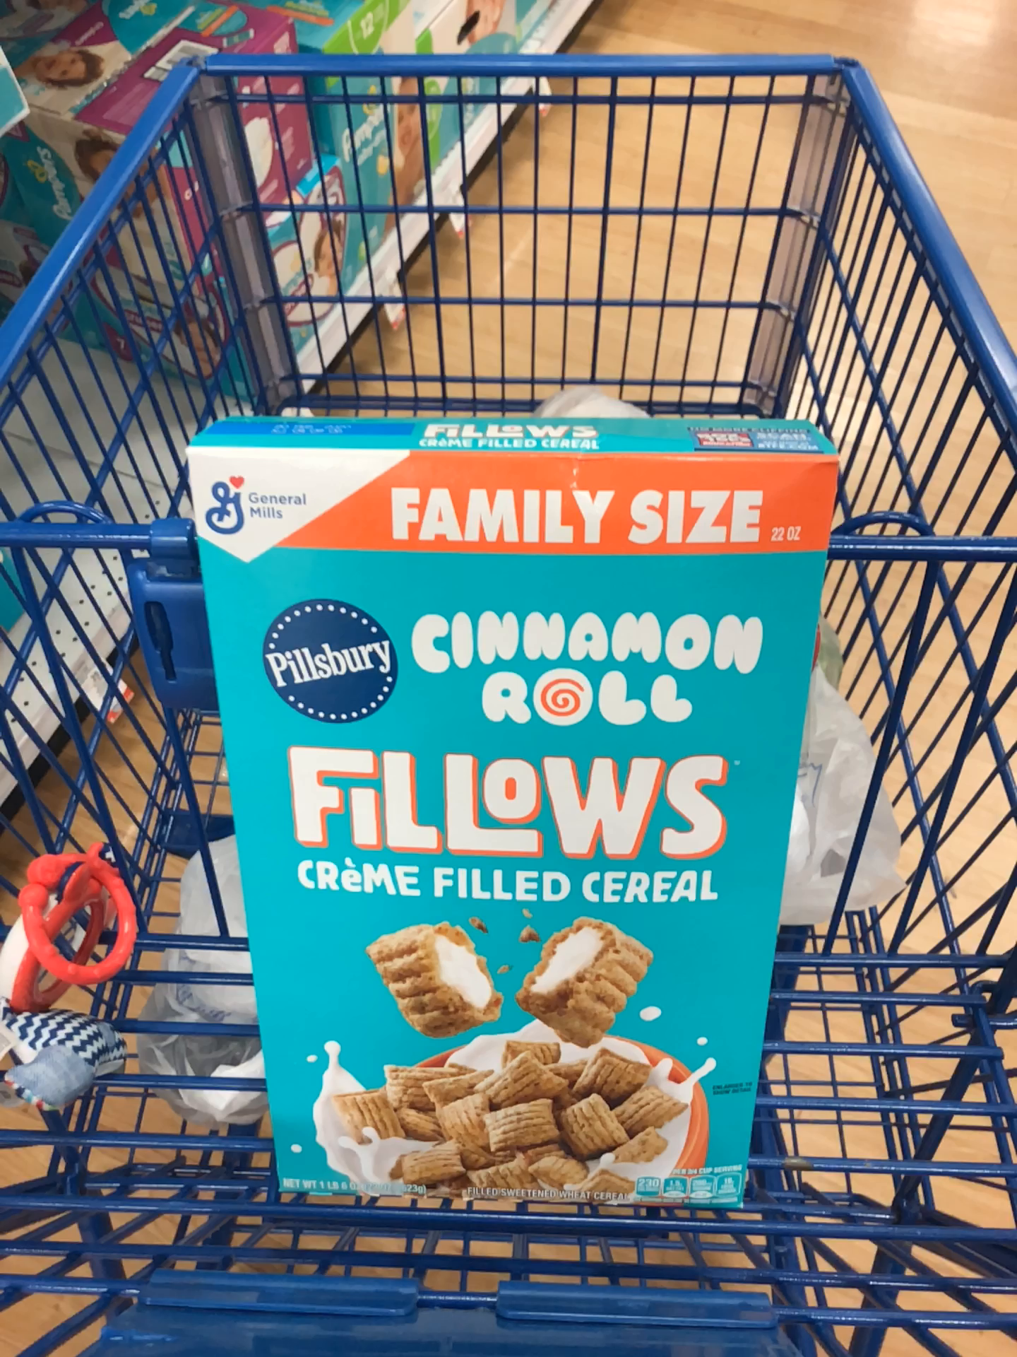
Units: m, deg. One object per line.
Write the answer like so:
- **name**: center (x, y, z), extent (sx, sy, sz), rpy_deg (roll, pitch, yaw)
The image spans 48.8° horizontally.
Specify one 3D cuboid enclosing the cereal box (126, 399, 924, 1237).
- **cereal box**: center (0.004, 0.058, 0.381), extent (0.210, 0.290, 0.060), rpy_deg (1, 24, 1)
